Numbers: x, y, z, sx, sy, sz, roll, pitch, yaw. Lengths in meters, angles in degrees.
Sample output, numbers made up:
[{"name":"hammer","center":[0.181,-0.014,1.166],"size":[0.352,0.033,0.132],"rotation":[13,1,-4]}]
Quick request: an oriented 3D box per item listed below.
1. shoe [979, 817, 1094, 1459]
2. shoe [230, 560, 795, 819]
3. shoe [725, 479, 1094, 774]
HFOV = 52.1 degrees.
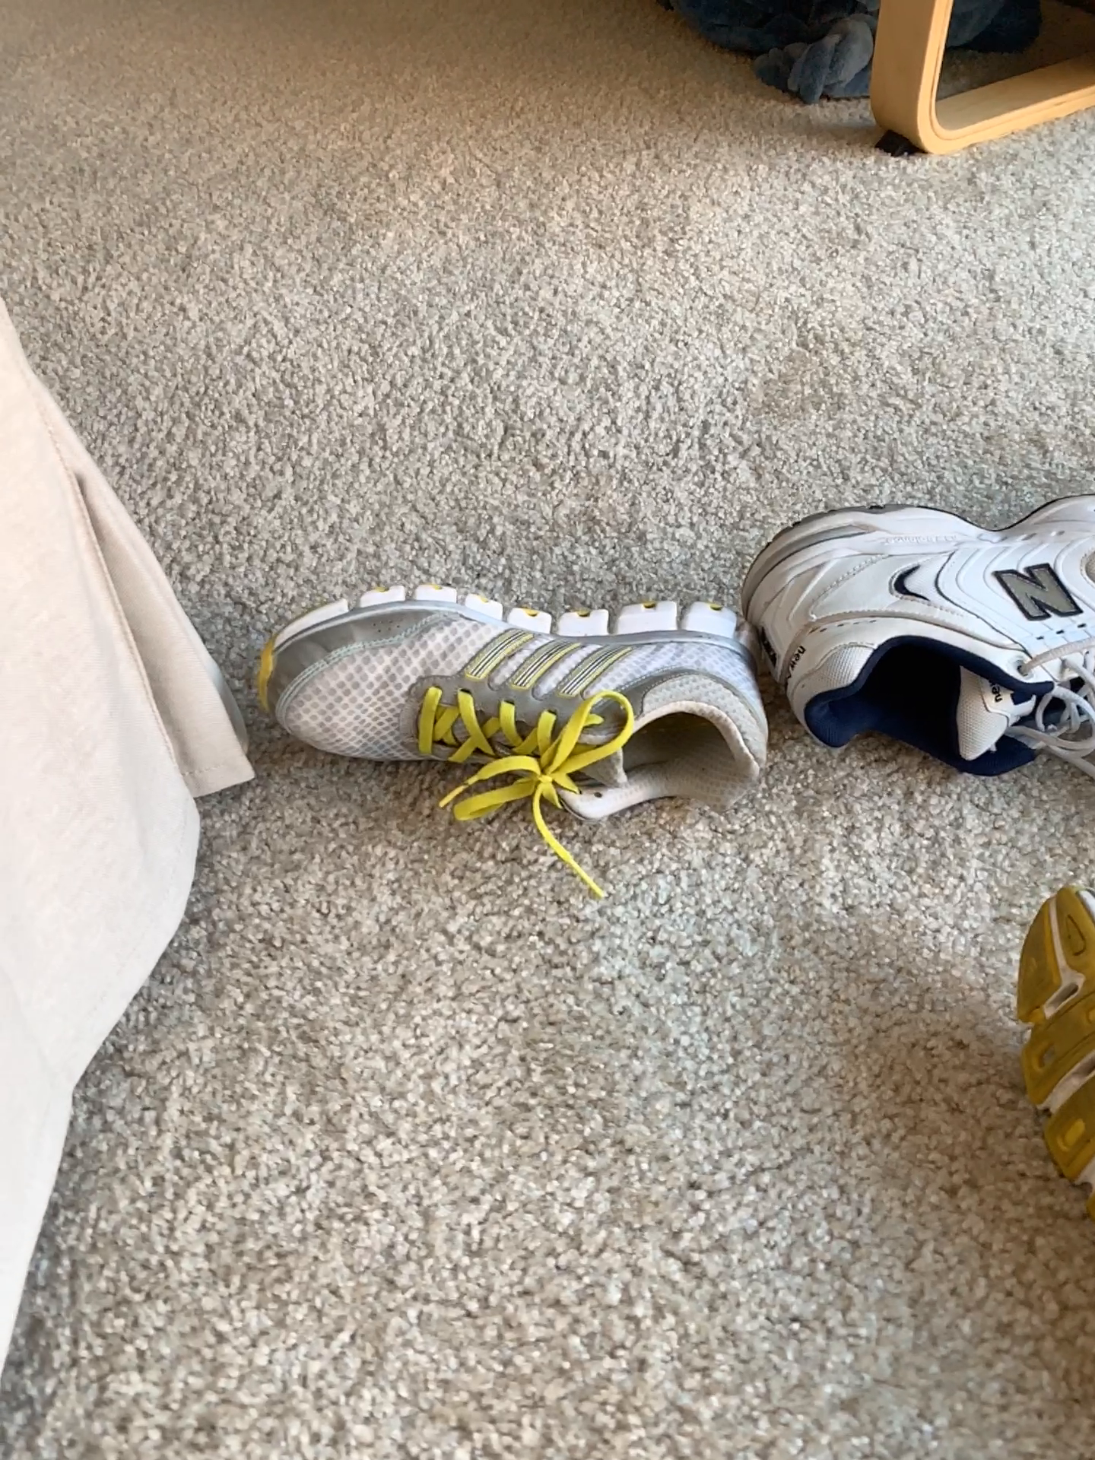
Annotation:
[{"name":"shoe","center":[0.252,0.149,0.347],"size":[0.100,0.090,0.221],"rotation":[-10,50,-15]},{"name":"shoe","center":[-0.015,-0.019,0.512],"size":[0.230,0.080,0.080],"rotation":[1,41,-2]},{"name":"shoe","center":[0.241,-0.050,0.557],"size":[0.280,0.100,0.100],"rotation":[1,52,-2]}]
